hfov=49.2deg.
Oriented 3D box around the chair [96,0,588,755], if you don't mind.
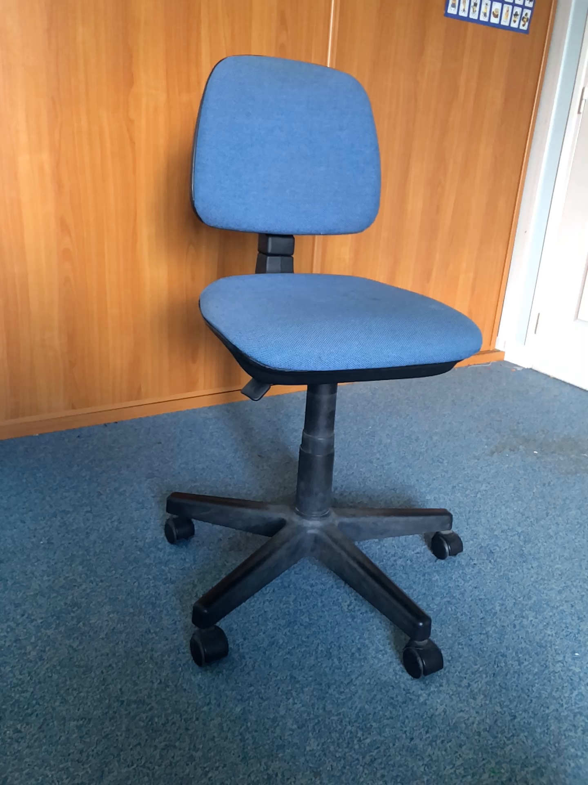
[{"bbox_3d":[0.054,-0.114,1.141,0.652,0.916,0.762,-5,21,-23],"label":"chair"}]
